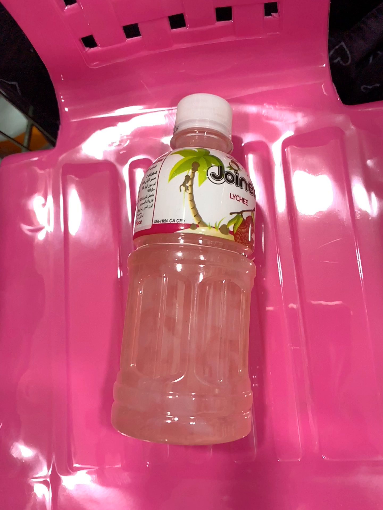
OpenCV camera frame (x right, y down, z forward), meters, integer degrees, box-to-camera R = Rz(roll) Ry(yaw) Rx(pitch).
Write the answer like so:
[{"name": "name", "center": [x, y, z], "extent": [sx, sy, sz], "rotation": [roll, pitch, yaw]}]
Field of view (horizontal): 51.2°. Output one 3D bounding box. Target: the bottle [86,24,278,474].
[{"name": "bottle", "center": [0.000, -0.003, 0.190], "extent": [0.060, 0.060, 0.170], "rotation": [-5, 78, 39]}]
